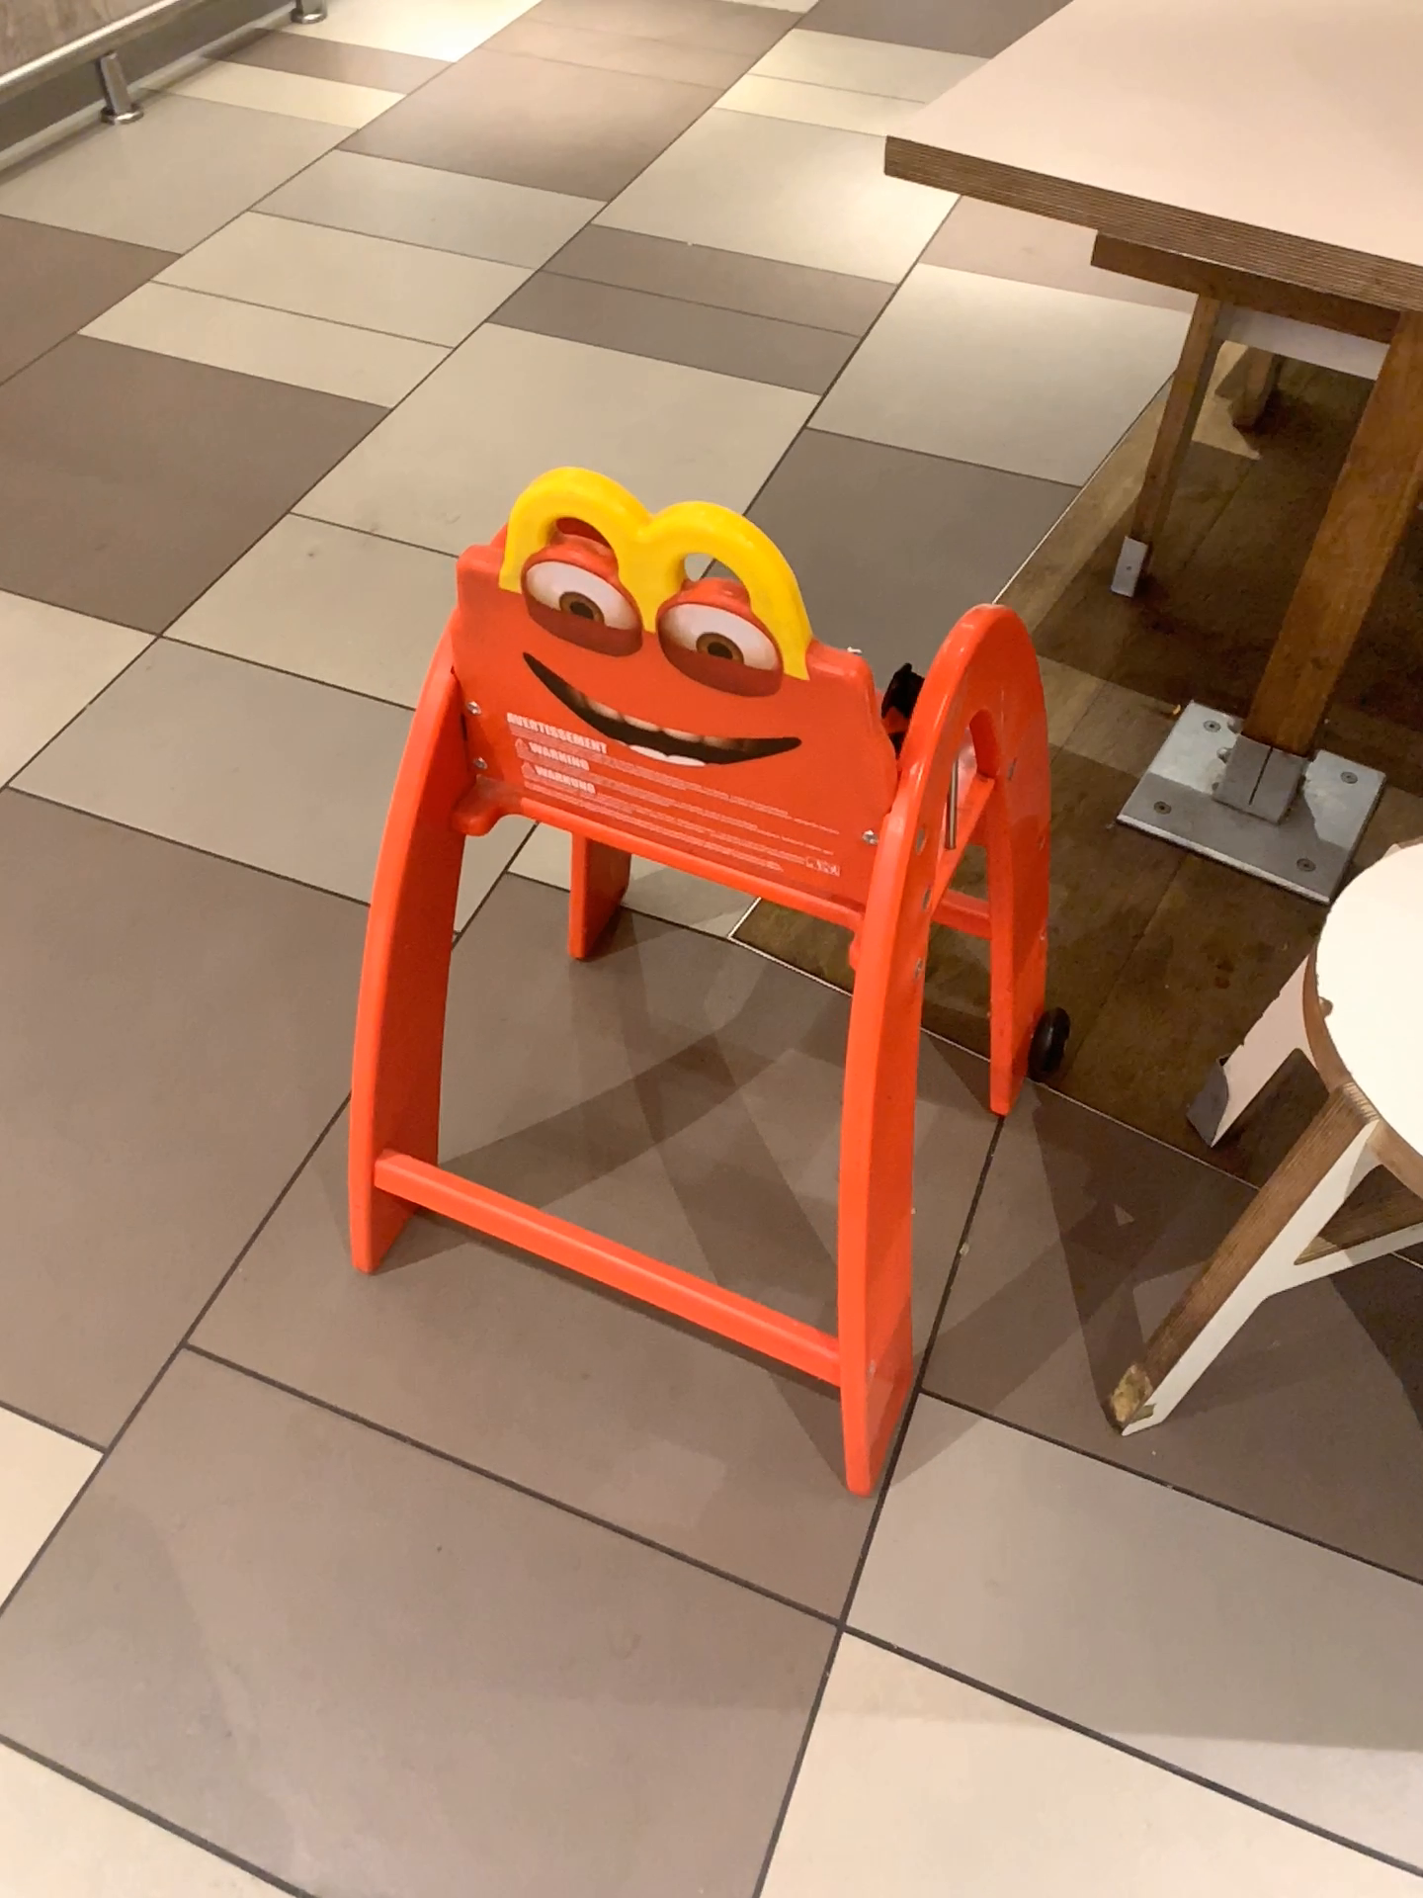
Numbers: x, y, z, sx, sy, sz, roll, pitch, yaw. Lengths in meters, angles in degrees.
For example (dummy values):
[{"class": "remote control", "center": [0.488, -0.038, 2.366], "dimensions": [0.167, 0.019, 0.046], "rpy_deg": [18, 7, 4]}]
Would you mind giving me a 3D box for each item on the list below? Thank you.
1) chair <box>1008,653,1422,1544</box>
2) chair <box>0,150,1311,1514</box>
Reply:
[{"class": "chair", "center": [0.456, 0.114, 1.043], "dimensions": [0.321, 0.446, 0.373], "rpy_deg": [18, 52, 14]}, {"class": "chair", "center": [0.000, -0.085, 1.069], "dimensions": [0.581, 0.654, 0.584], "rpy_deg": [18, 52, 14]}]
